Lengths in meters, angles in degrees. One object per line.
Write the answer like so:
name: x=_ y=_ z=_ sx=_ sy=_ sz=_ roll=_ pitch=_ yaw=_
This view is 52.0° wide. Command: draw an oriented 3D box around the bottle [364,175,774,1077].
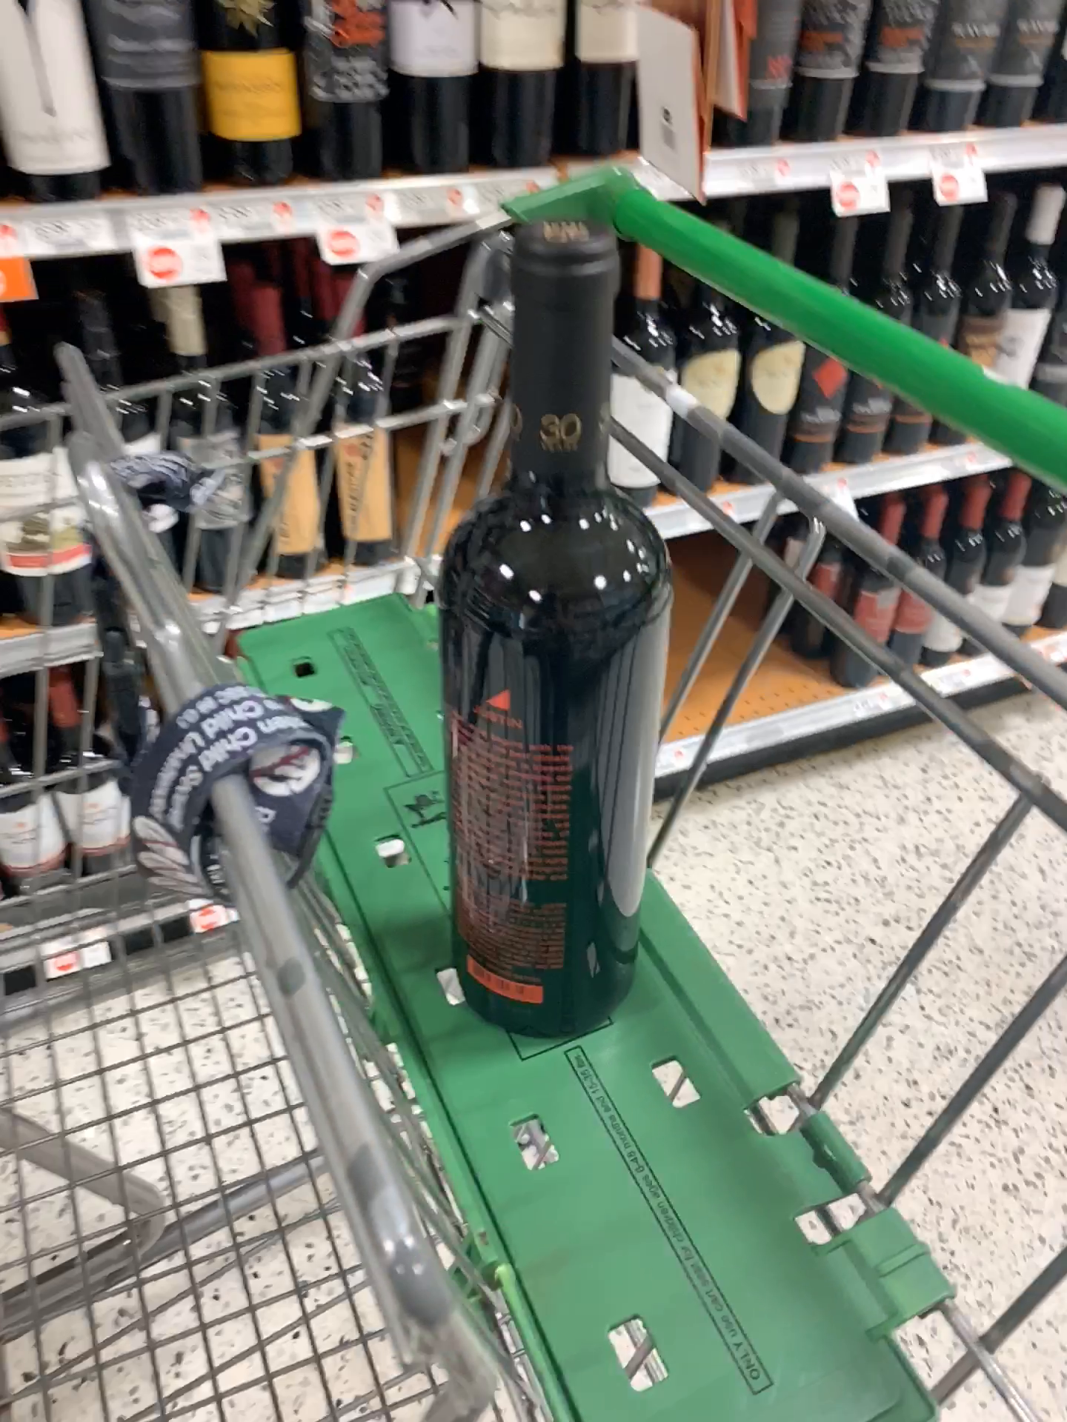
bottle: x=0.008 y=-0.008 z=0.373 sx=0.080 sy=0.297 sz=0.081 roll=1 pitch=39 yaw=-1
